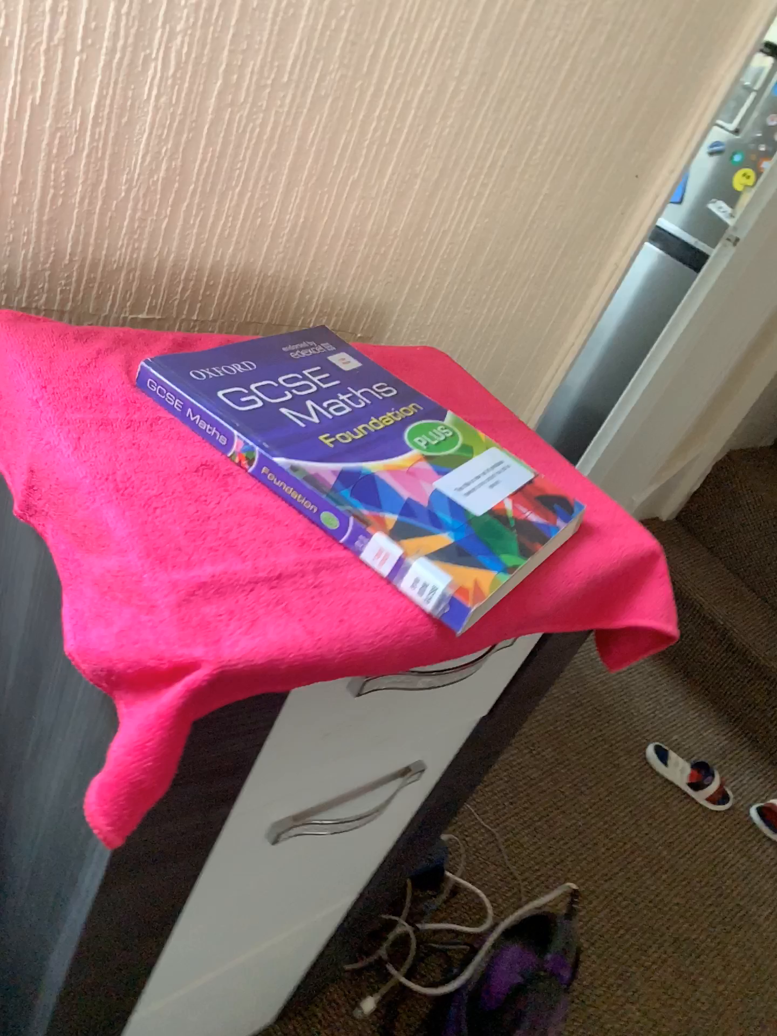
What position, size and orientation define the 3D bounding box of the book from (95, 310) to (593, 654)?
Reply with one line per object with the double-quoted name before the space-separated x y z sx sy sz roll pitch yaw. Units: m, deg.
"book" -0.018 -0.050 0.539 0.280 0.030 0.212 37 32 16
